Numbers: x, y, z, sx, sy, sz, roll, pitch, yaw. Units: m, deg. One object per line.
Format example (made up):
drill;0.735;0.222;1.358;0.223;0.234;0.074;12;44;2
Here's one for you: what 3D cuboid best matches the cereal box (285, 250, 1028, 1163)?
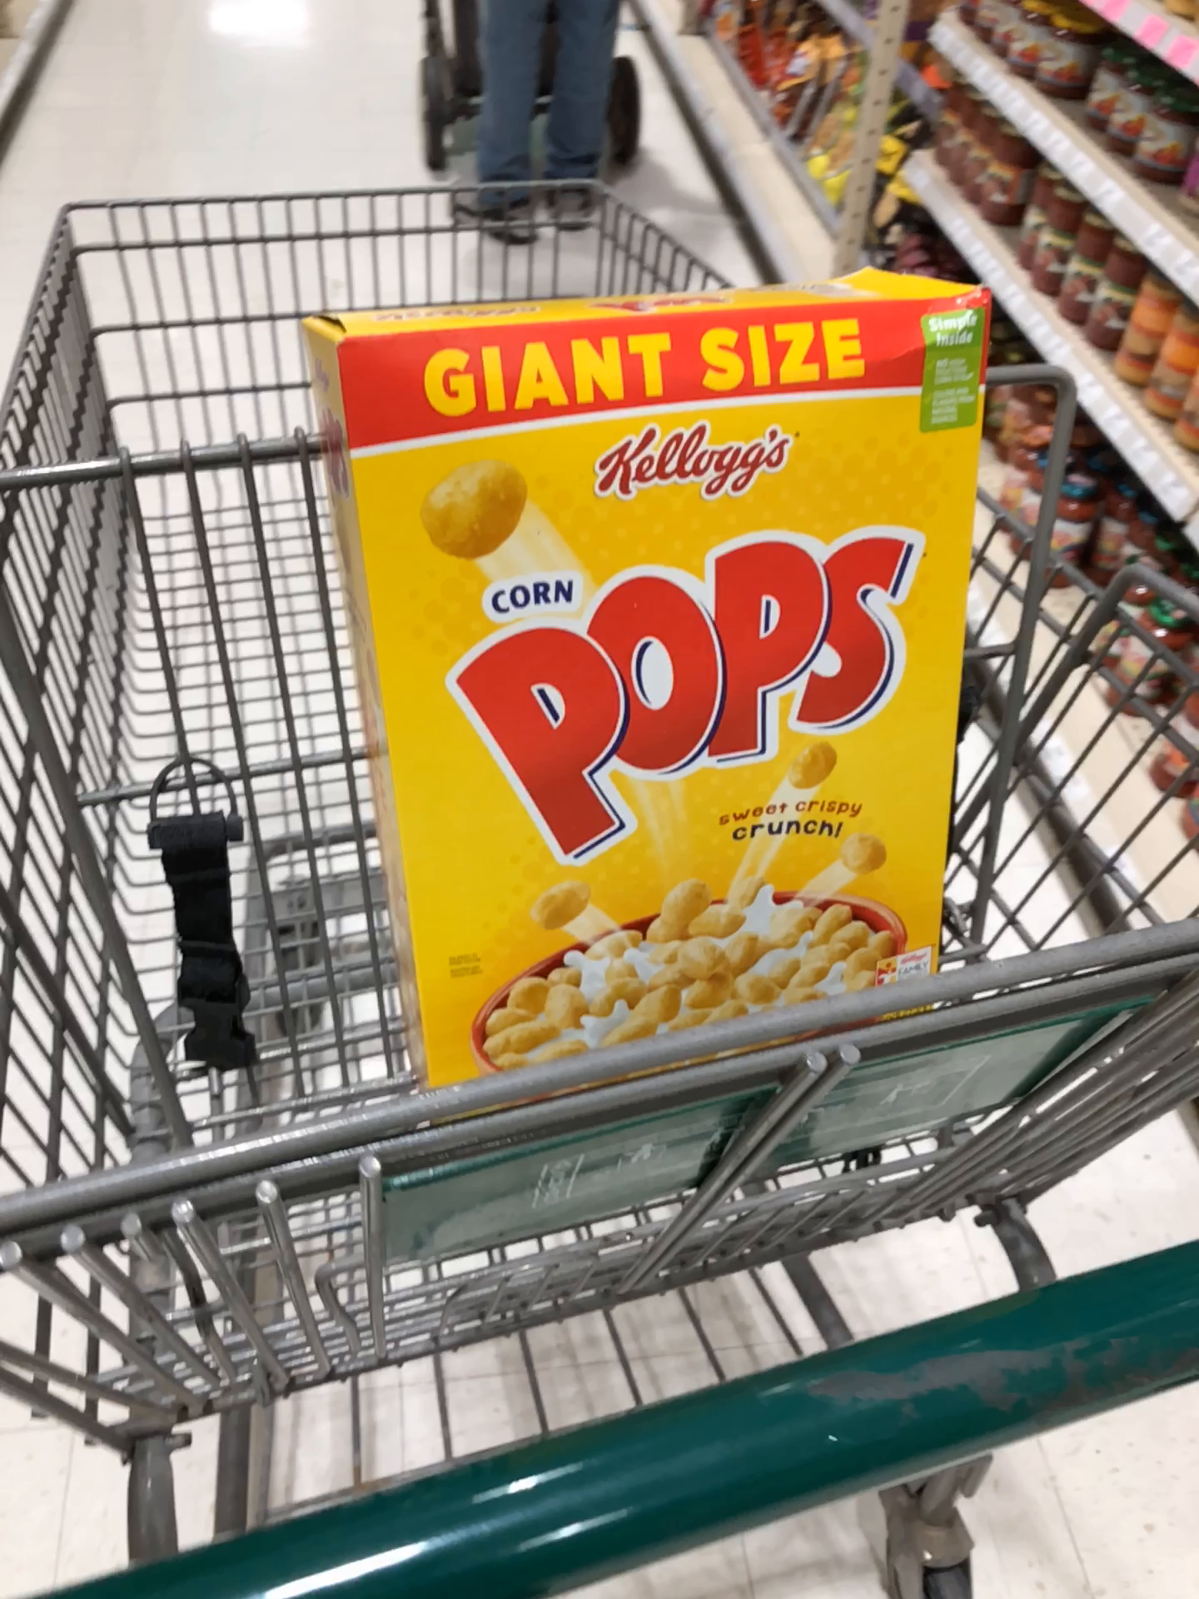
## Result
cereal box;0.027;-0.036;0.542;0.250;0.329;0.080;-11;28;-15
